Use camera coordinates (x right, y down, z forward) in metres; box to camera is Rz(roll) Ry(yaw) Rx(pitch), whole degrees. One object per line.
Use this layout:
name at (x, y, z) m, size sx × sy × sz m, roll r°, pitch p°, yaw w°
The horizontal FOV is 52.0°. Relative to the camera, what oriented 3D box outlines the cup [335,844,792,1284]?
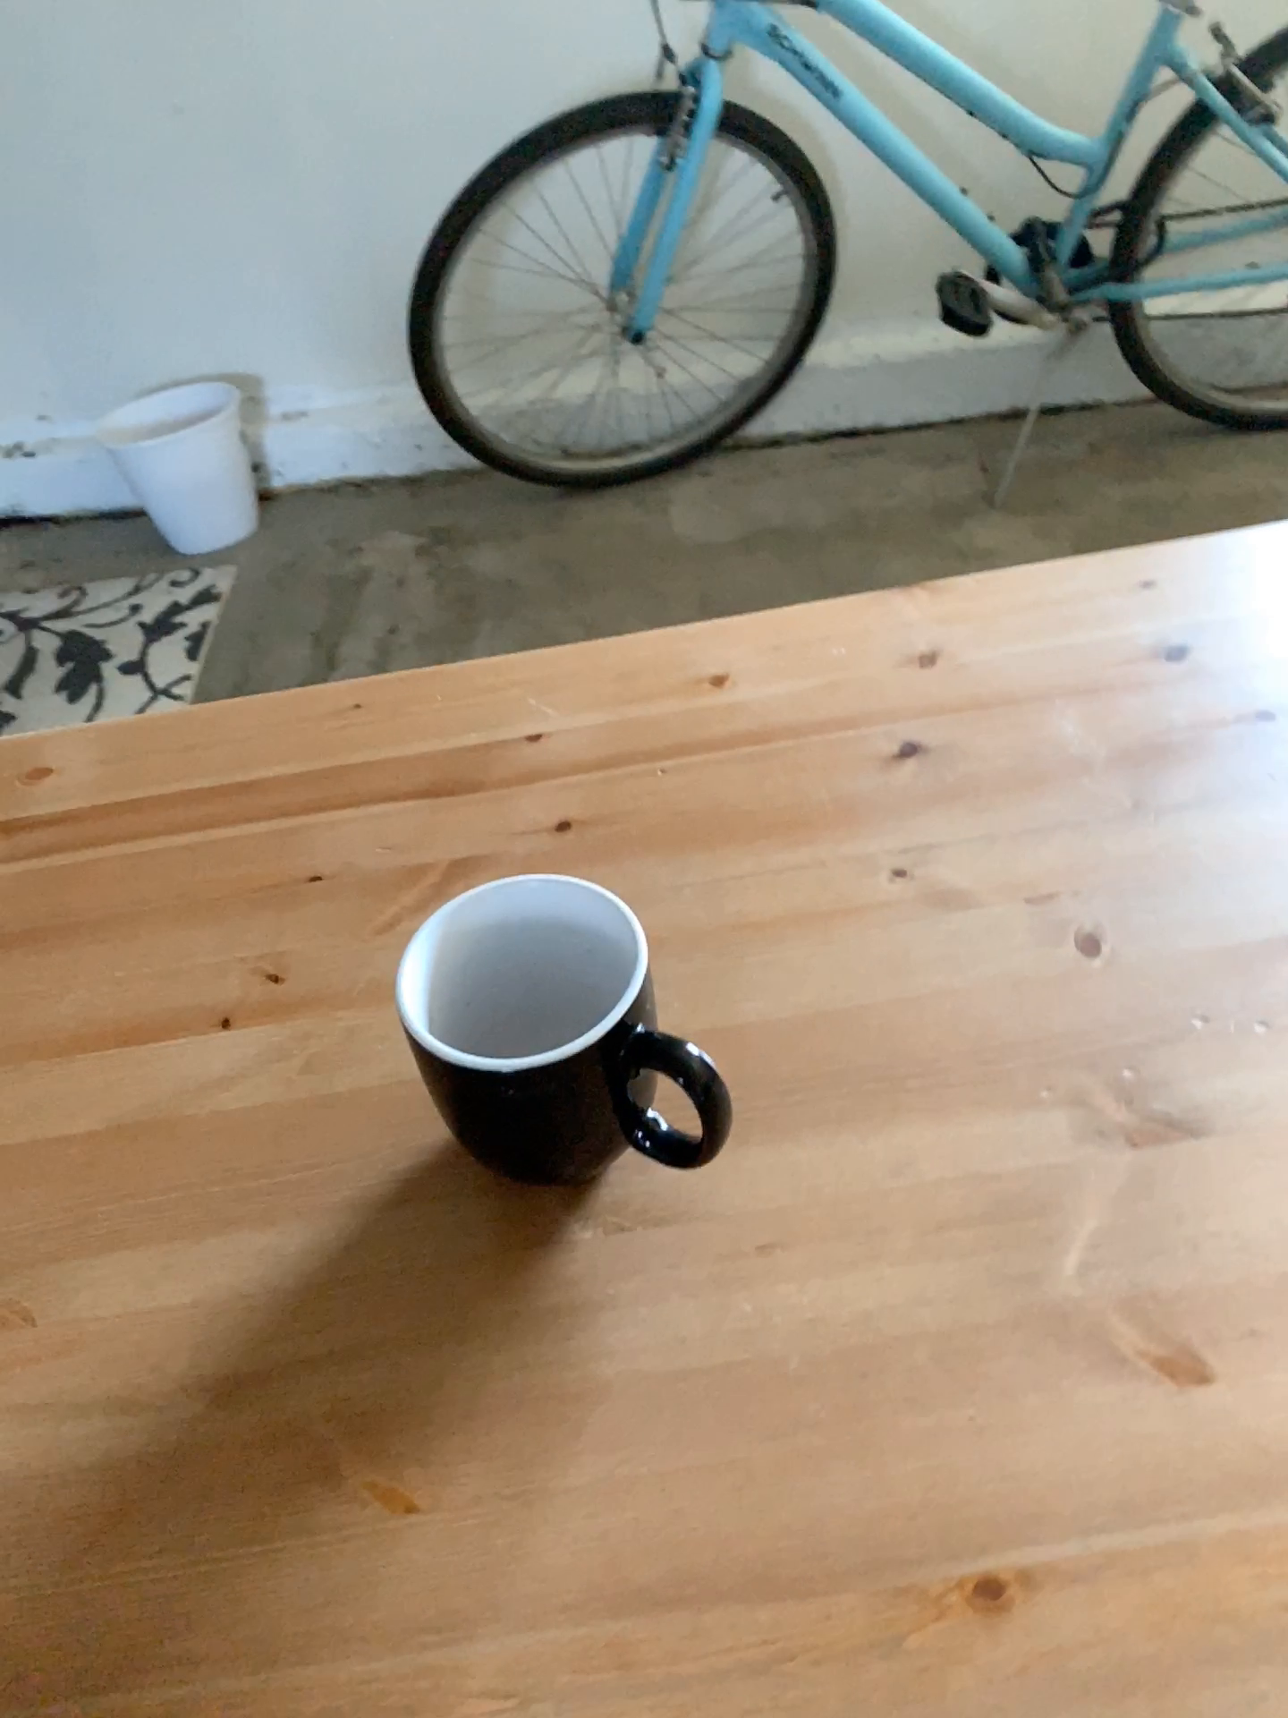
cup at (-0.027, 0.080, 0.538) m, size 0.140 × 0.100 × 0.100 m, roll 16°, pitch 51°, yaw 24°
